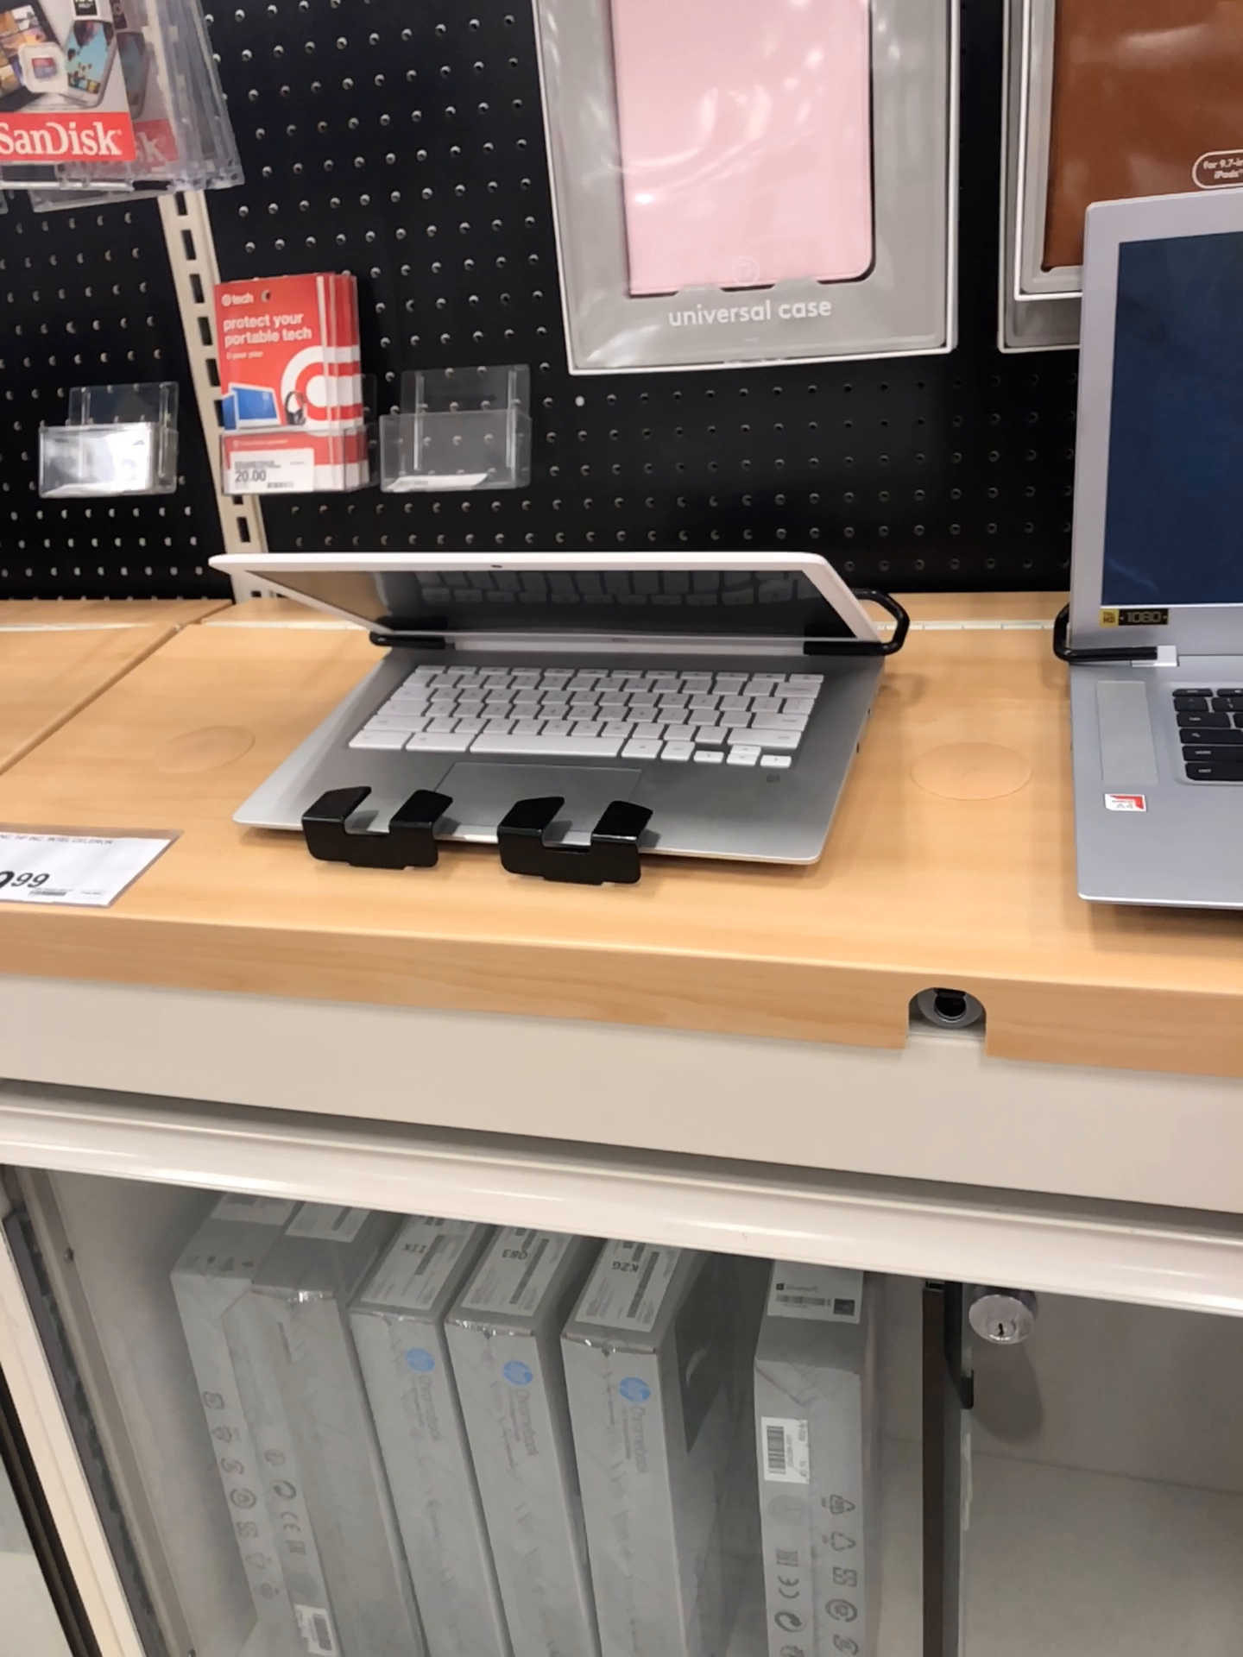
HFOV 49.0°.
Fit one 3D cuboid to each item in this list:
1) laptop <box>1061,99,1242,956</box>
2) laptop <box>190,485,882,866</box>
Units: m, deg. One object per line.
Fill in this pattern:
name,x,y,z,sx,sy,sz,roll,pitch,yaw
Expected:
laptop,0.406,-0.146,0.594,0.388,0.244,0.274,2,28,16
laptop,-0.036,-0.100,0.769,0.330,0.100,0.216,4,33,19
